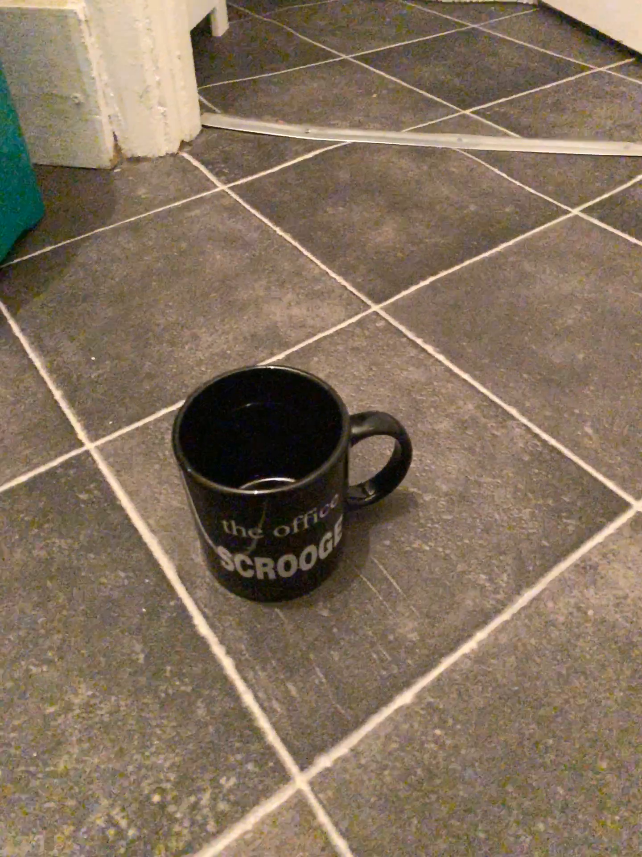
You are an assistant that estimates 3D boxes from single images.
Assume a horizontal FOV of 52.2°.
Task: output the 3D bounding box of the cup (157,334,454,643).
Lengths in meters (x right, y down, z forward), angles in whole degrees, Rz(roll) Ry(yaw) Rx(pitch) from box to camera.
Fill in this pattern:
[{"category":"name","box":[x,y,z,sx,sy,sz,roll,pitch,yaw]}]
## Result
[{"category":"cup","box":[-0.010,0.032,0.340,0.117,0.115,0.081,-13,48,-12]}]
